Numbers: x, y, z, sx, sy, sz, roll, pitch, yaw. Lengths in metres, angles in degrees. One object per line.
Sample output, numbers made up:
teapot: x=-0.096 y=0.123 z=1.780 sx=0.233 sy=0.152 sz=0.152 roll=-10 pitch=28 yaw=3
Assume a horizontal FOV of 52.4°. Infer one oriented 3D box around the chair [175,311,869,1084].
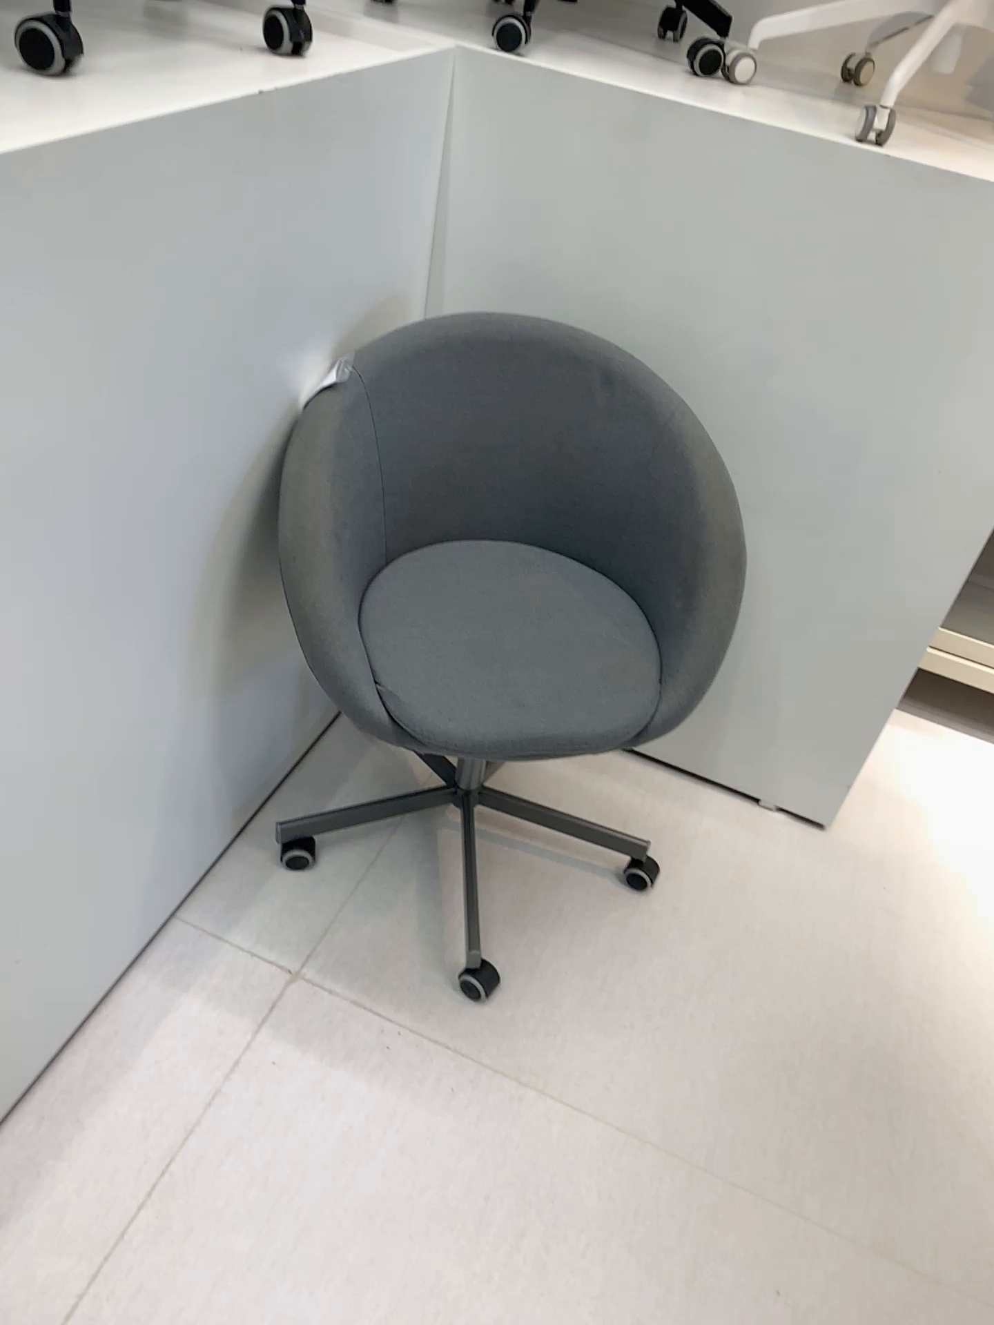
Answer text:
chair: x=-0.090 y=0.006 z=1.585 sx=0.721 sy=0.767 sz=0.833 roll=-4 pitch=41 yaw=-18
